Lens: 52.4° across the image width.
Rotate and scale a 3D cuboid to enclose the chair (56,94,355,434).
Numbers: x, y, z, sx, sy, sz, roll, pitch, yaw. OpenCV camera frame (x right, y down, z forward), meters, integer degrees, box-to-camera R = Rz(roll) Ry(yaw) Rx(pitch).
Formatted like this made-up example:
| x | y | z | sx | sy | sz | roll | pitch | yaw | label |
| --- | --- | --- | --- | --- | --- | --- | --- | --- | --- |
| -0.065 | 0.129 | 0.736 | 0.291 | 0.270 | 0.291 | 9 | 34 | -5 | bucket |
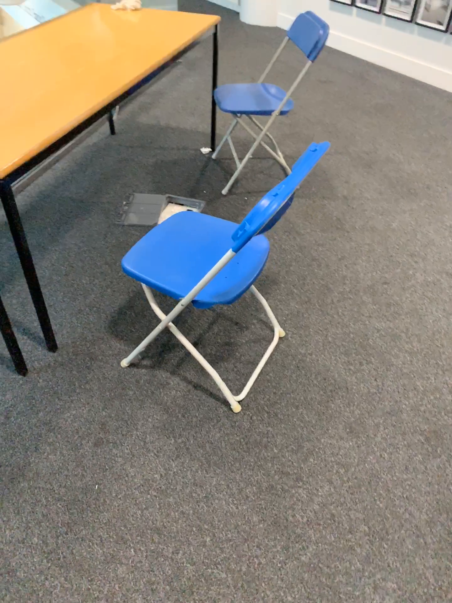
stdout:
| x | y | z | sx | sy | sz | roll | pitch | yaw | label |
| --- | --- | --- | --- | --- | --- | --- | --- | --- | --- |
| -0.035 | -0.123 | 1.383 | 0.551 | 0.713 | 0.534 | 21 | 45 | 19 | chair |
